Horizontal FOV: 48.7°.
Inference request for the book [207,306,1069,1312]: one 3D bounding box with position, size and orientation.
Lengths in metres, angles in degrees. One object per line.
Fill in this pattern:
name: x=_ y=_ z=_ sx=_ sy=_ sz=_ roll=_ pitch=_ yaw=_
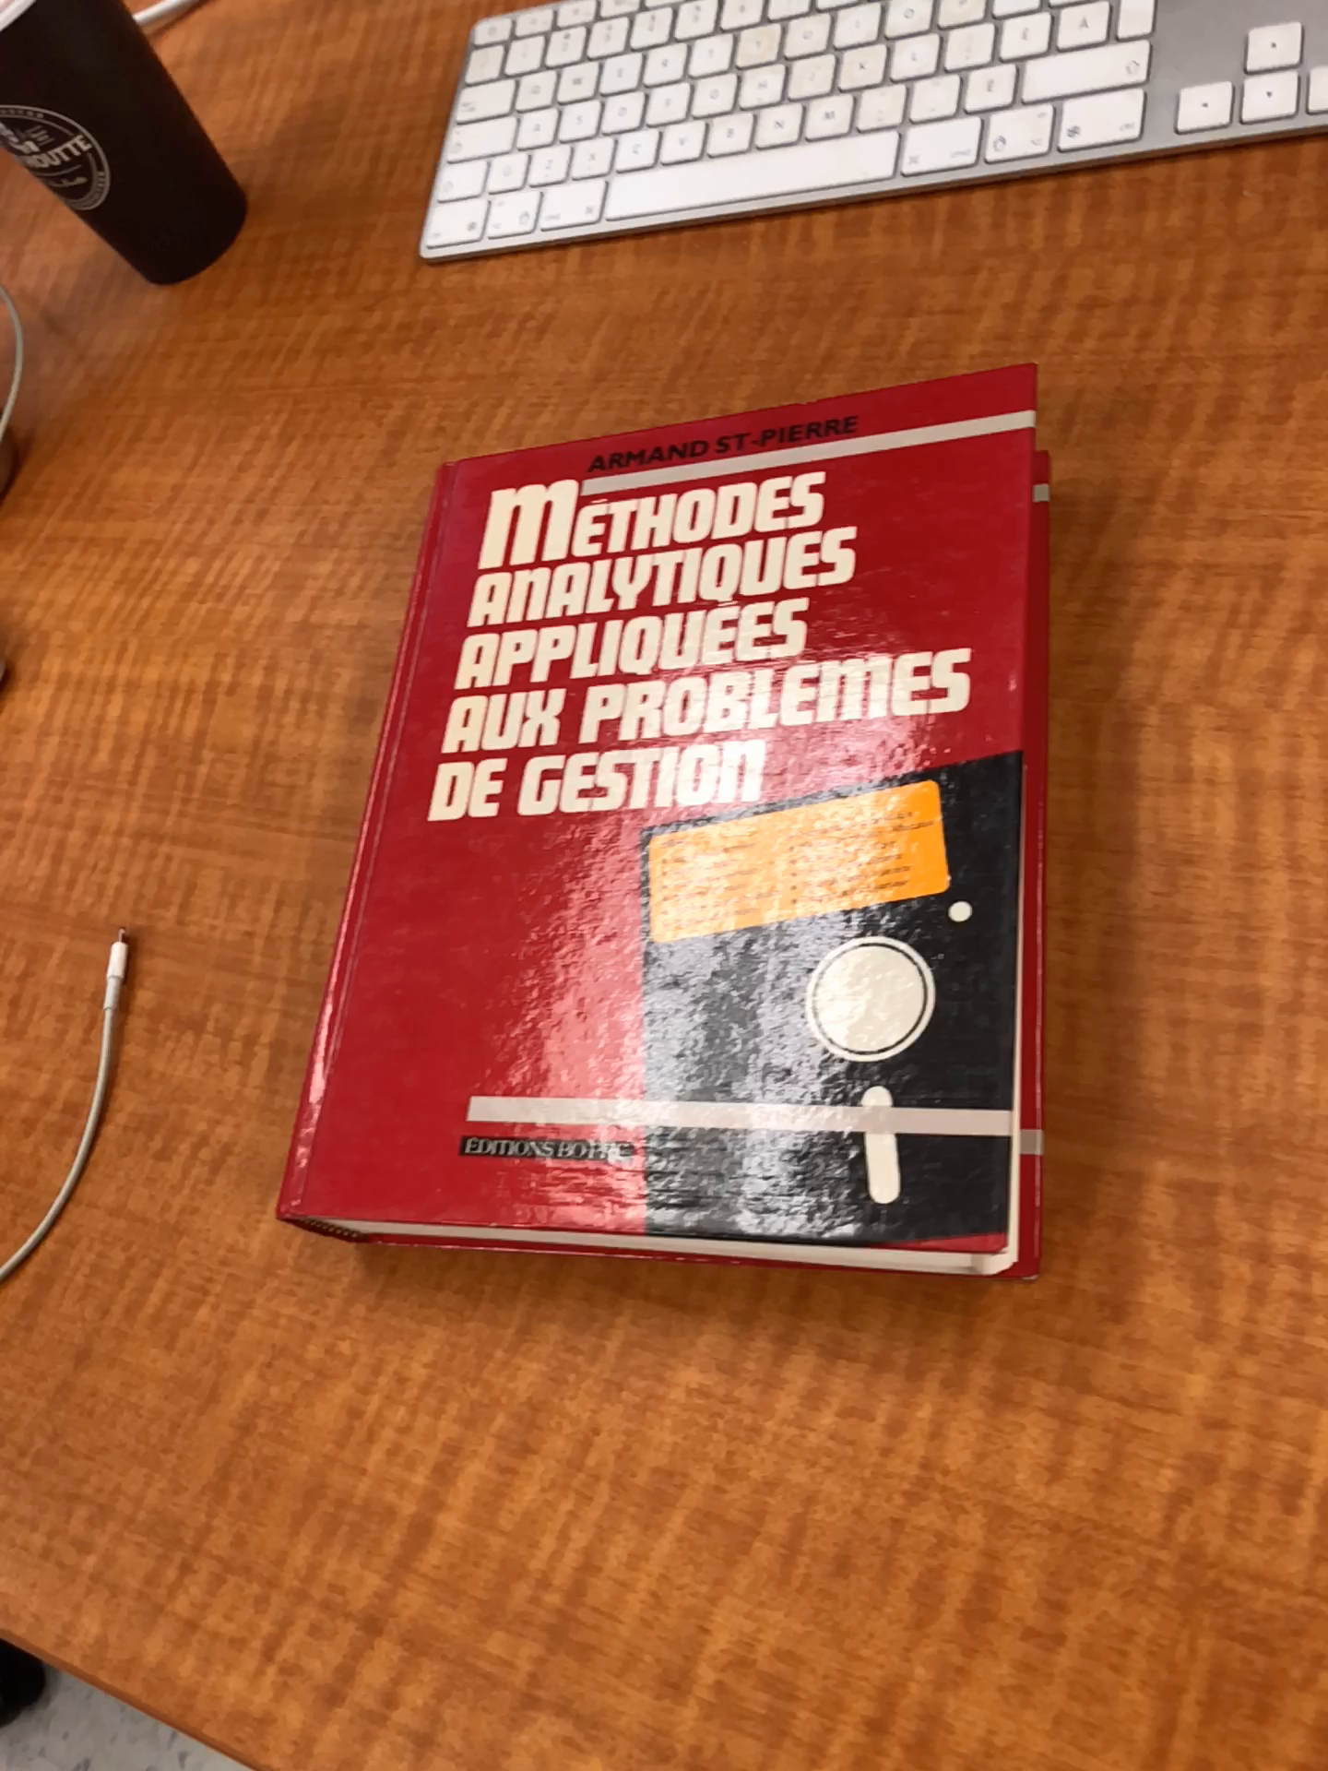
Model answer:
book: x=0.002 y=-0.024 z=0.400 sx=0.200 sy=0.050 sz=0.250 roll=-2 pitch=66 yaw=23
